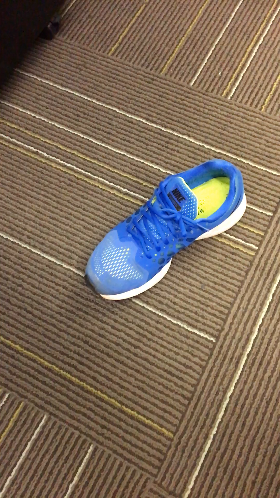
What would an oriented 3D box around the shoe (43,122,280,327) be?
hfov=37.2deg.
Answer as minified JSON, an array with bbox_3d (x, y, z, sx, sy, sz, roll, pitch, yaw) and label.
[{"bbox_3d":[0.037,-0.030,0.620,0.310,0.150,0.110,-32,70,-9],"label":"shoe"}]
